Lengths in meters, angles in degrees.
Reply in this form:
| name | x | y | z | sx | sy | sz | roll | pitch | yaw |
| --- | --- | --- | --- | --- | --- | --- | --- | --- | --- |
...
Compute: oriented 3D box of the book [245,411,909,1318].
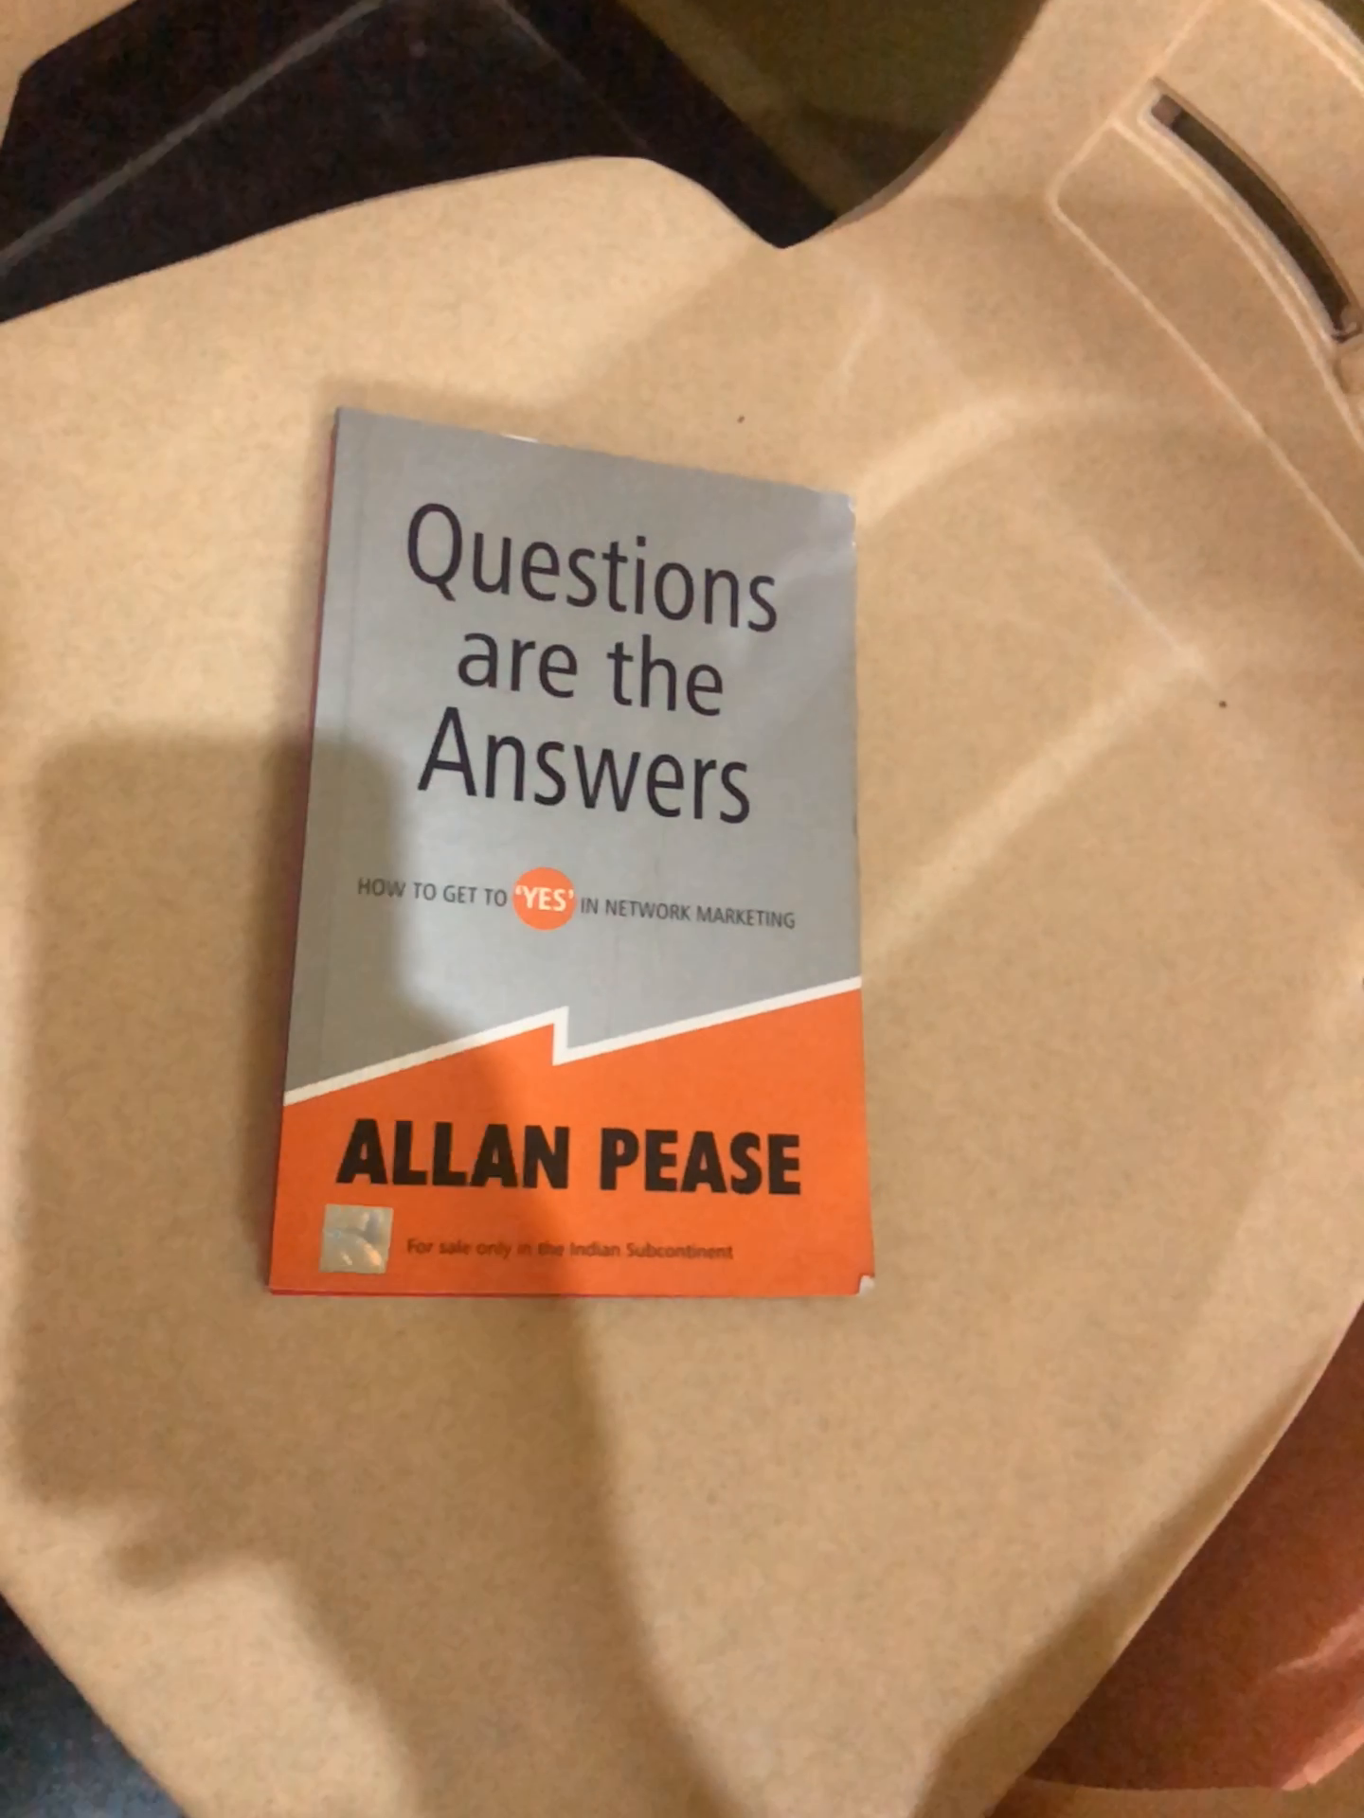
| name | x | y | z | sx | sy | sz | roll | pitch | yaw |
| --- | --- | --- | --- | --- | --- | --- | --- | --- | --- |
| book | -0.020 | -0.010 | 0.369 | 0.150 | 0.020 | 0.210 | 4 | 78 | -14 |
